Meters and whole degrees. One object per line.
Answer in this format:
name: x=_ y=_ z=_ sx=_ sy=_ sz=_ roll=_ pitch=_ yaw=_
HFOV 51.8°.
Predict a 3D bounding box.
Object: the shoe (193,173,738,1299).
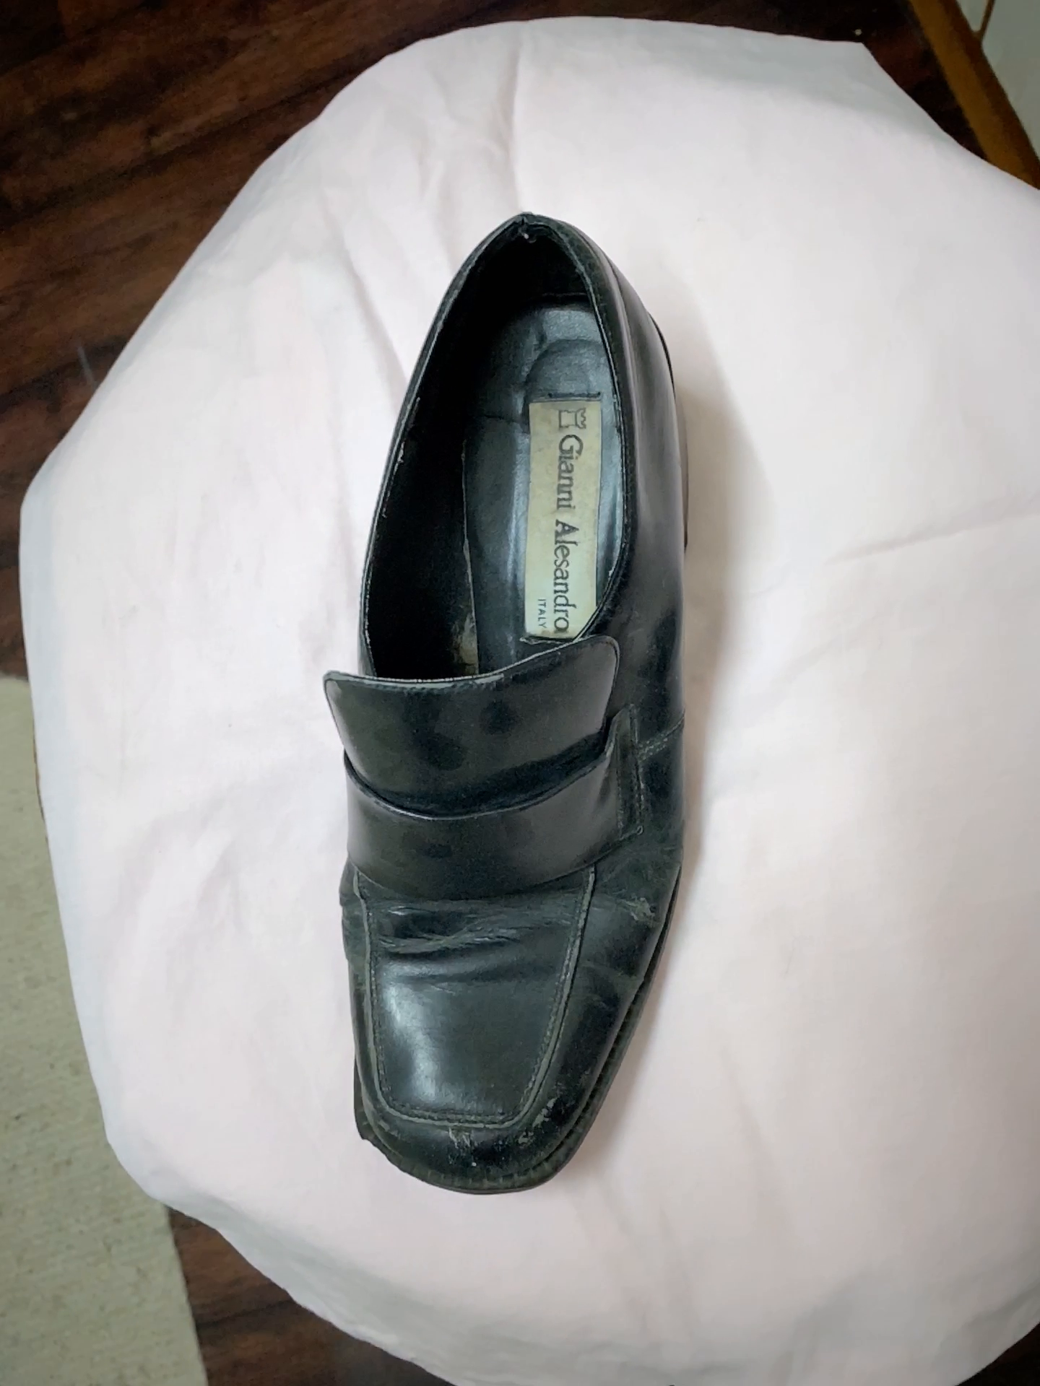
shoe: x=-0.001 y=0.003 z=0.280 sx=0.090 sy=0.092 sz=0.240 roll=6 pitch=82 yaw=12
